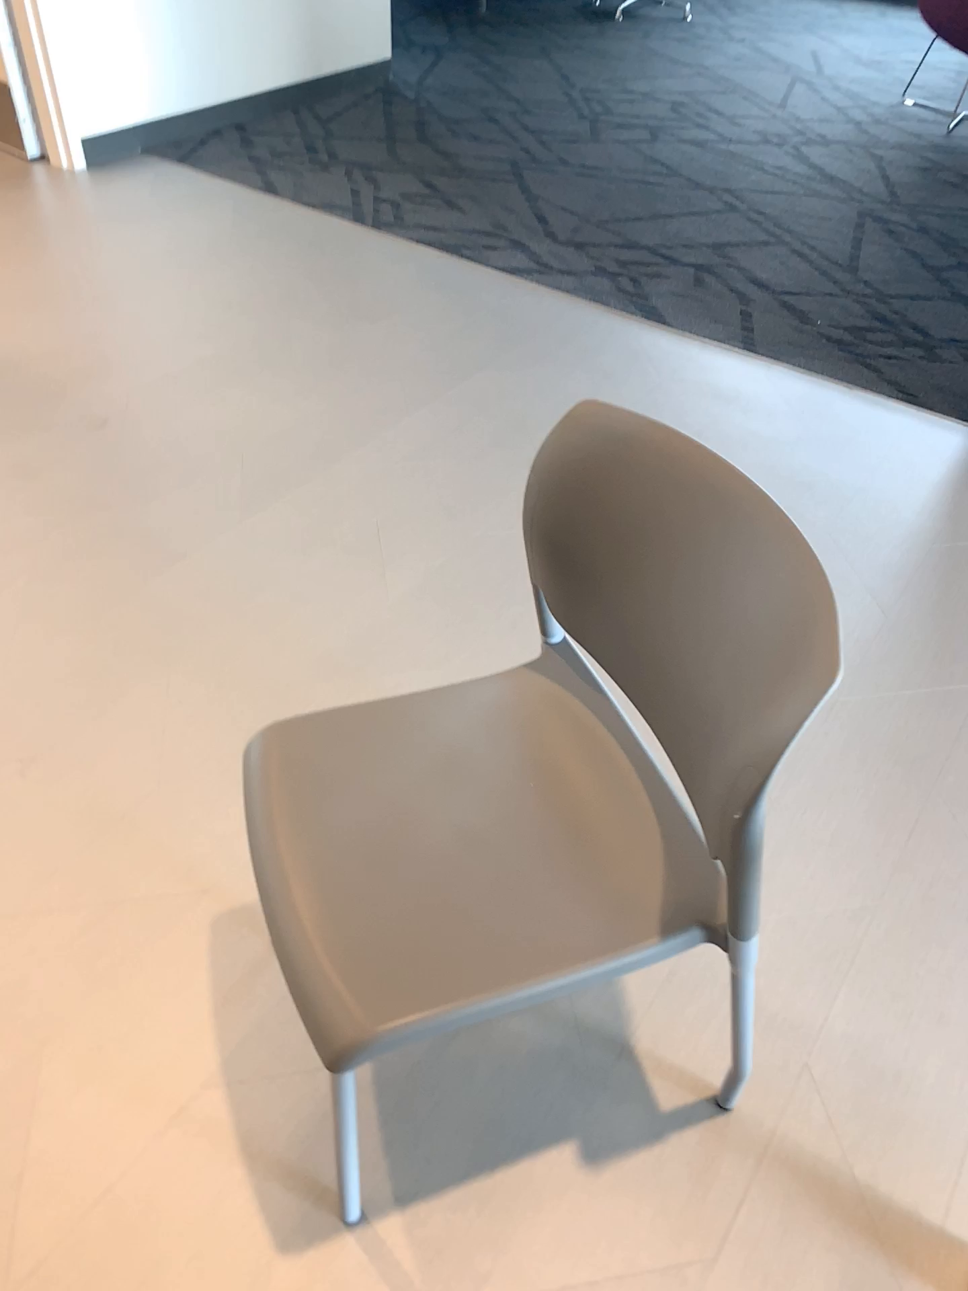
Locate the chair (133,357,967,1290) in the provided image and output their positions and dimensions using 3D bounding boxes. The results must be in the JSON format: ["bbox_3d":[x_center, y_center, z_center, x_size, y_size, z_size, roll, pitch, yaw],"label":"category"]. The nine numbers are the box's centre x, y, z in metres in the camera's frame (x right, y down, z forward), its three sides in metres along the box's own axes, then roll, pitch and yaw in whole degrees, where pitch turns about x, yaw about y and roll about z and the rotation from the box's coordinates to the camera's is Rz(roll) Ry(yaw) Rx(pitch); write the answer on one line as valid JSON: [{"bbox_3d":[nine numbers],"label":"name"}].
[{"bbox_3d":[0.019,0.199,1.087,0.571,0.783,0.504,-14,45,-18],"label":"chair"}]
